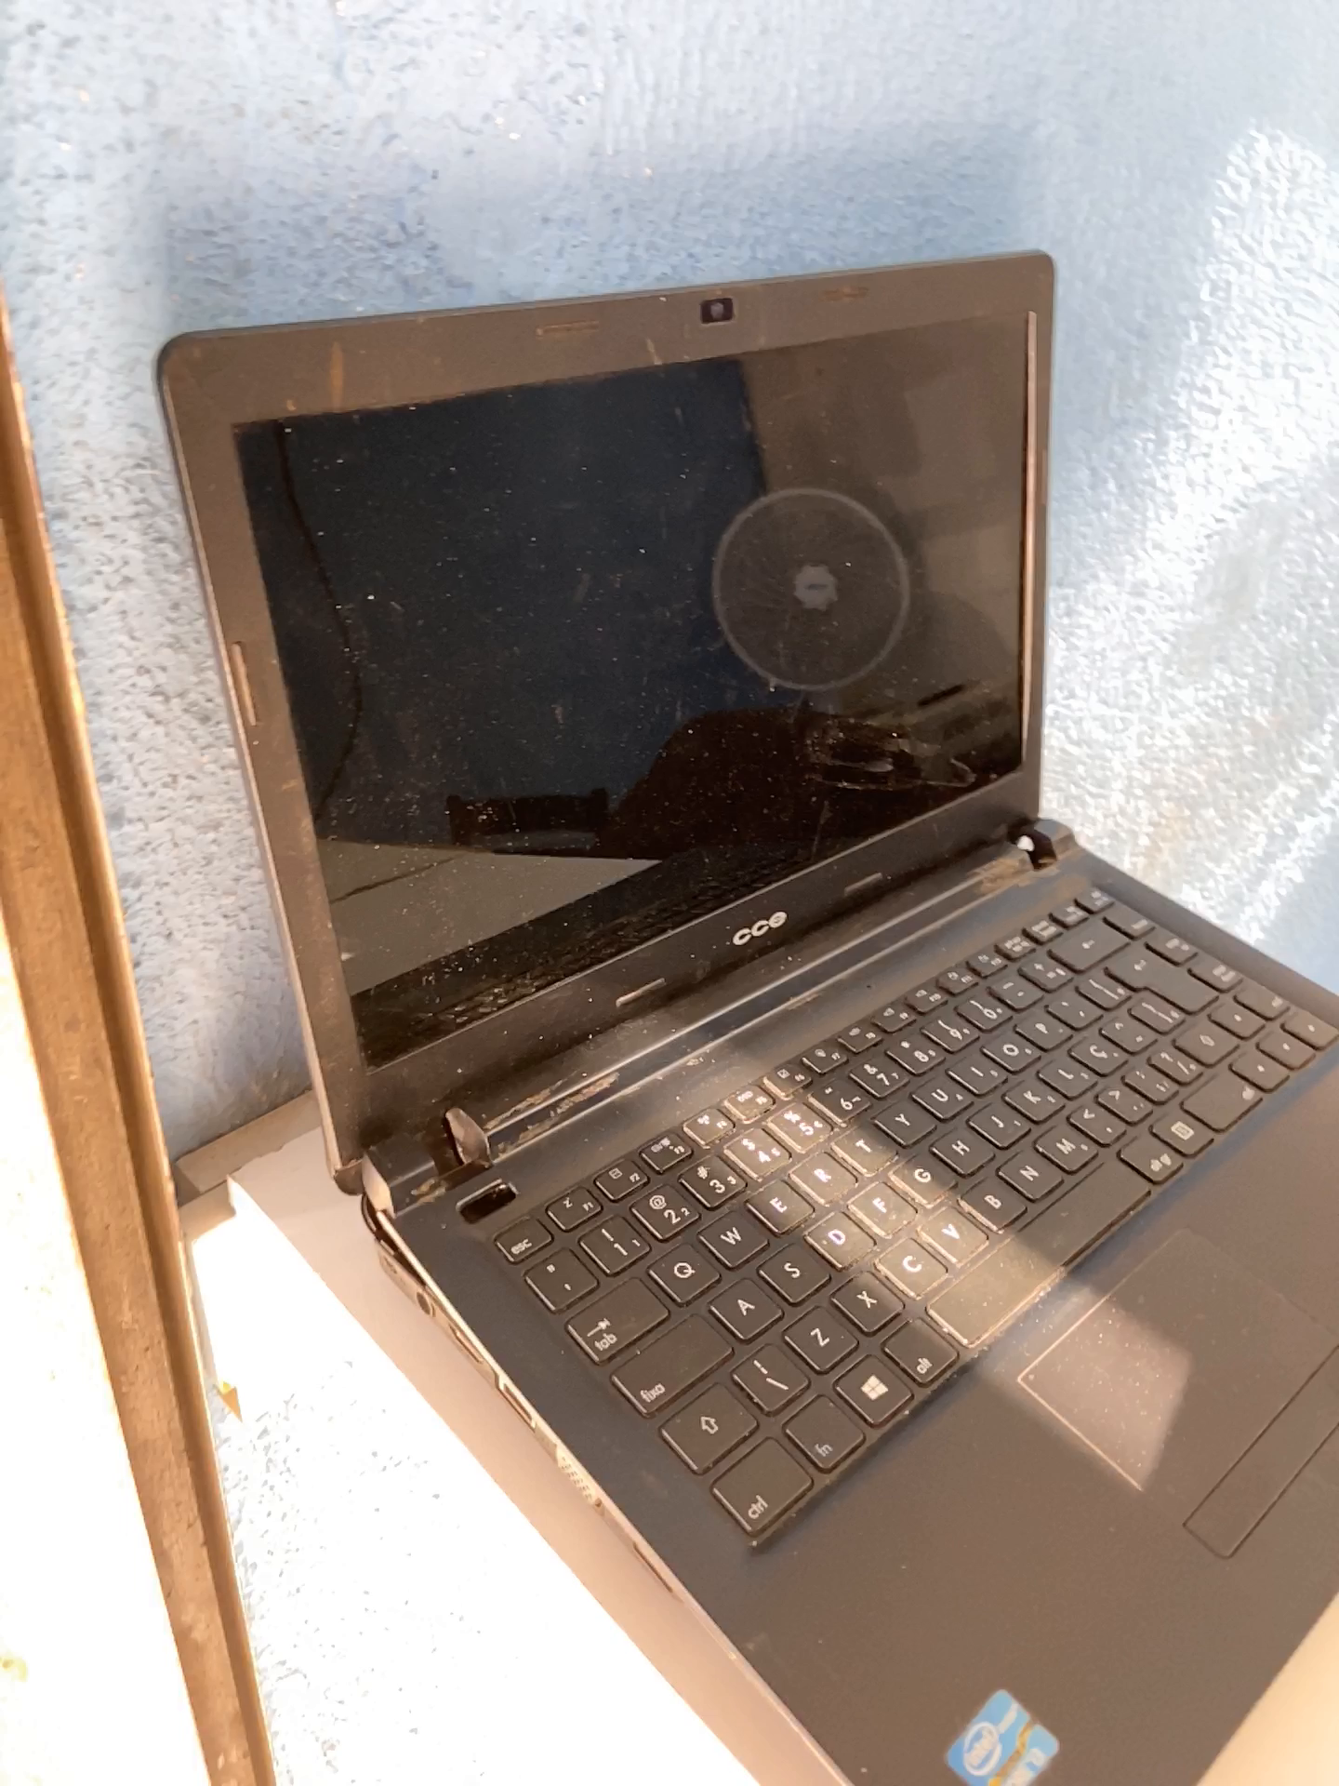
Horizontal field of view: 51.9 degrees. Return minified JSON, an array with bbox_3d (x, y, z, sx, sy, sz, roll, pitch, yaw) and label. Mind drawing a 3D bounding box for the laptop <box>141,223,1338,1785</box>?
[{"bbox_3d":[0.099,-0.026,0.384,0.334,0.211,0.313,-23,45,-36],"label":"laptop"}]
